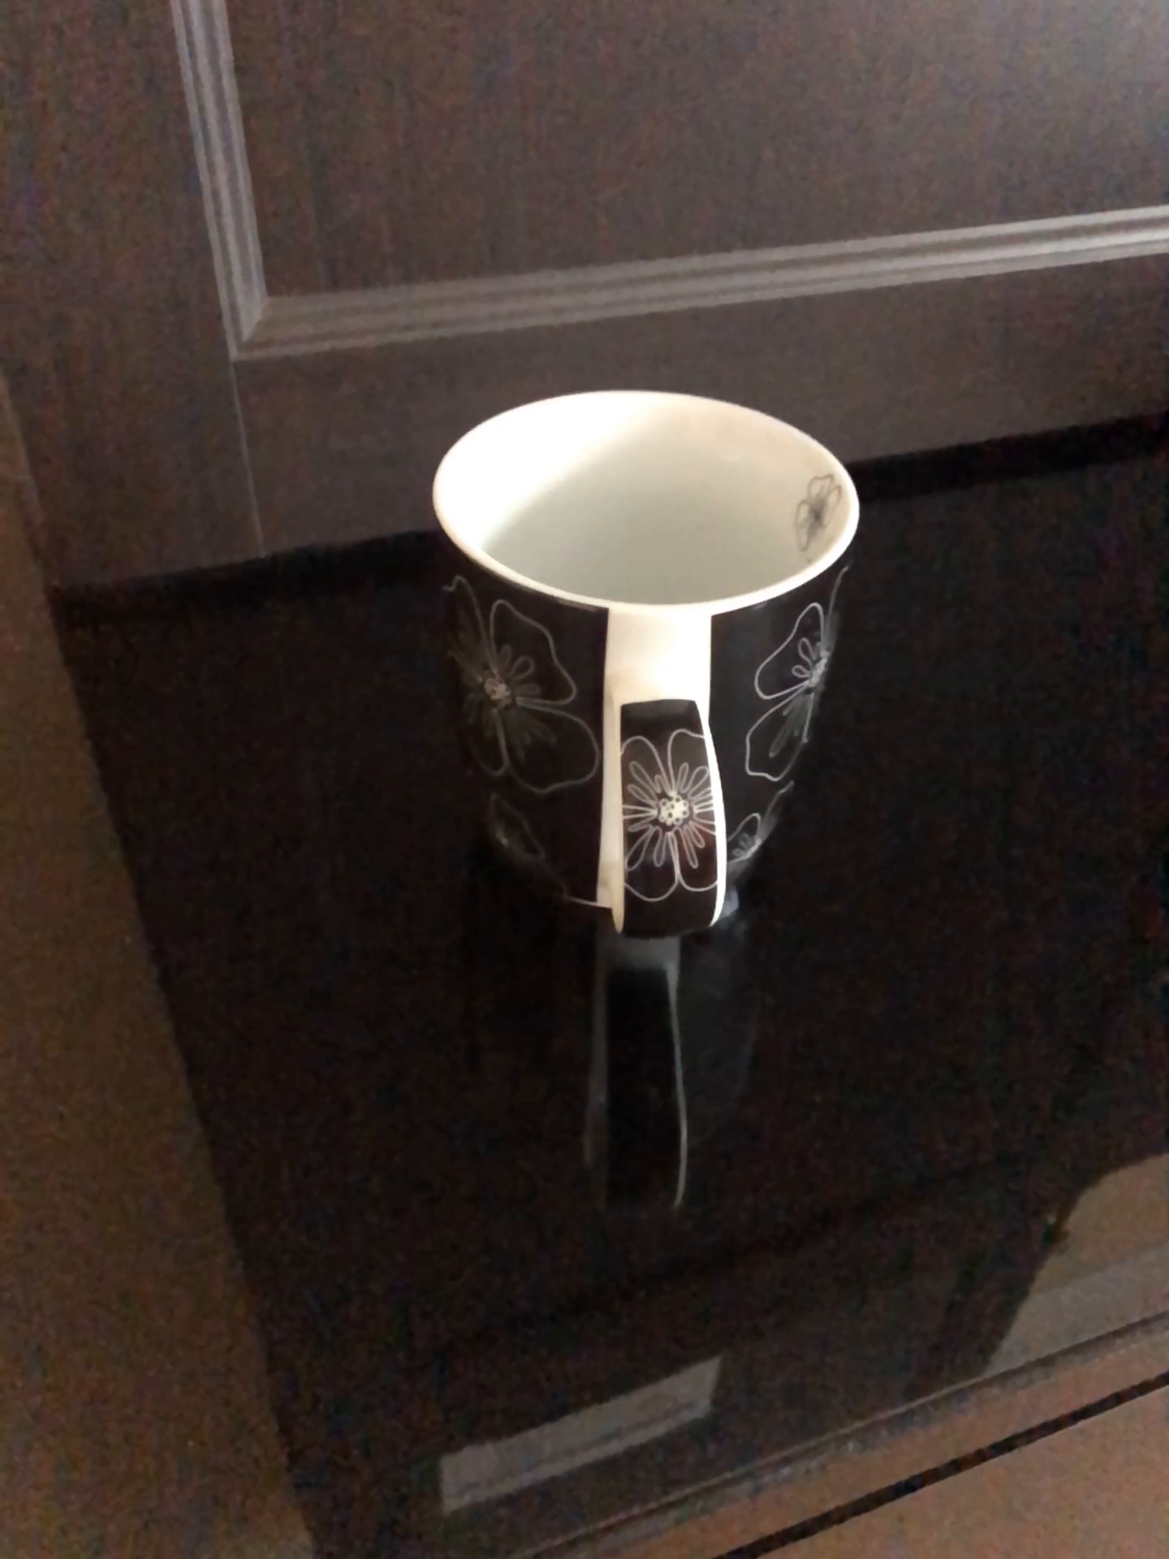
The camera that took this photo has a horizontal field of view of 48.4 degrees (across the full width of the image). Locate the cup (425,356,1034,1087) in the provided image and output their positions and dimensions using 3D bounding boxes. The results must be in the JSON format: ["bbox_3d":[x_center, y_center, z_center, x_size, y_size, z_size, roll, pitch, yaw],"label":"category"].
[{"bbox_3d":[0.016,-0.018,0.267,0.090,0.089,0.121,-3,42,-6],"label":"cup"}]
